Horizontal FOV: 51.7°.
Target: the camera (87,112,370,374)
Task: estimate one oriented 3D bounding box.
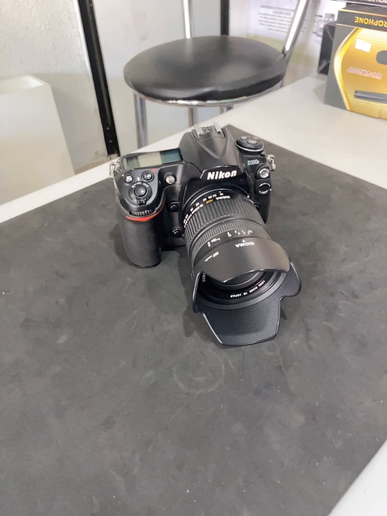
[{"bbox_3d":[0.012,-0.025,0.338,0.170,0.109,0.181,-9,41,-5],"label":"camera"}]
